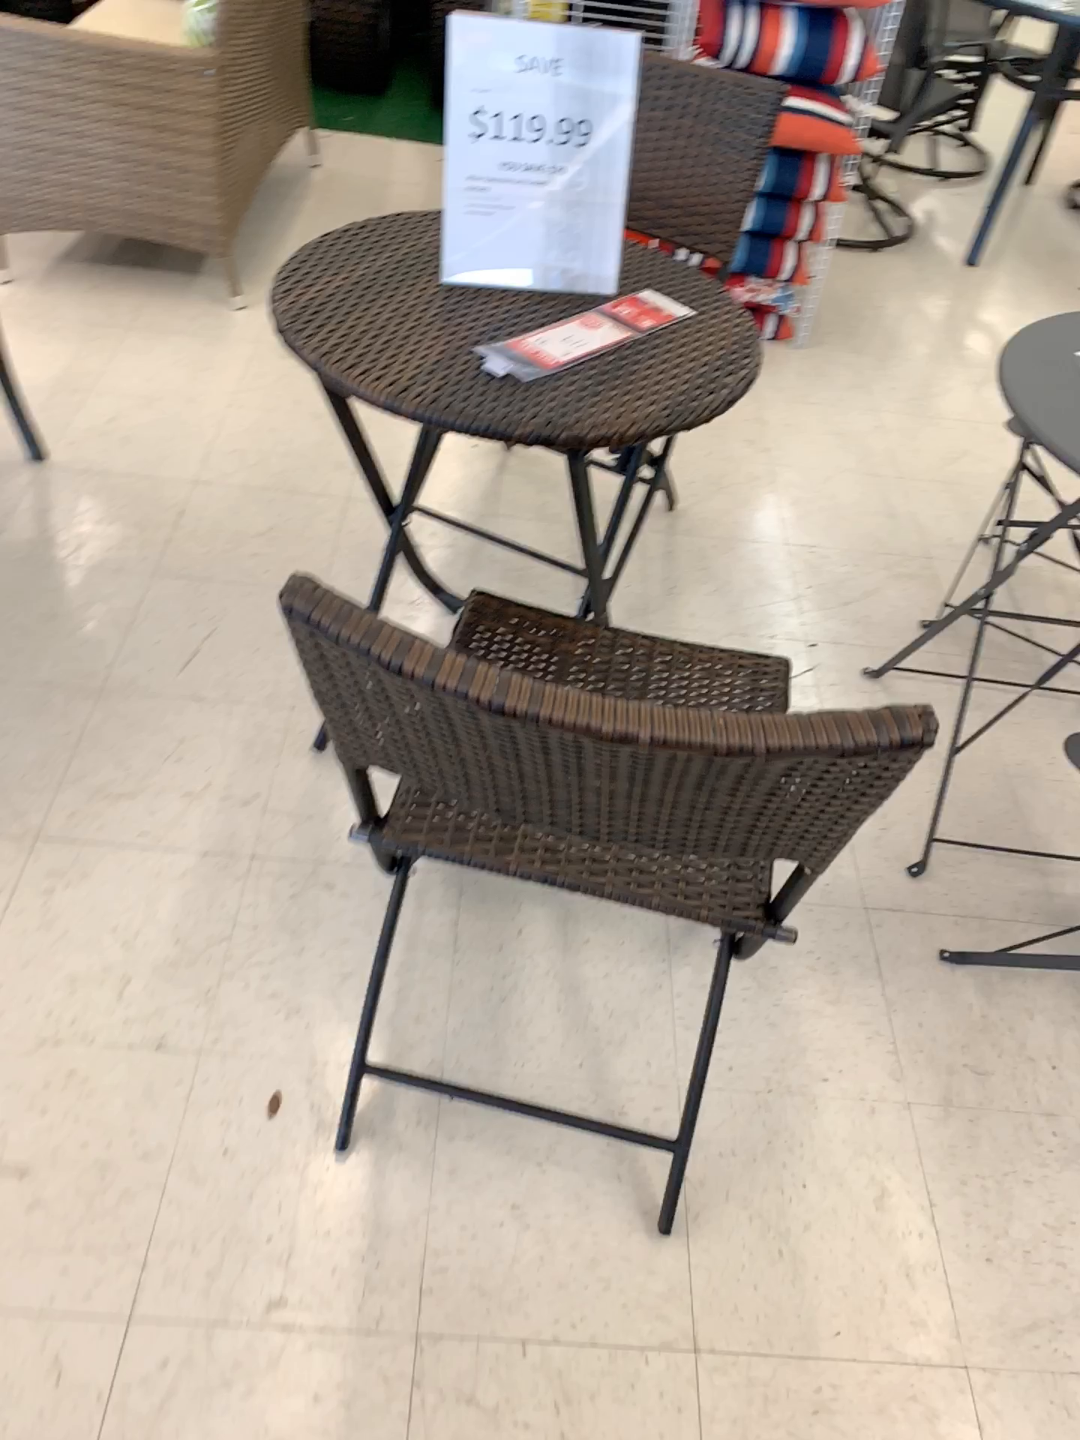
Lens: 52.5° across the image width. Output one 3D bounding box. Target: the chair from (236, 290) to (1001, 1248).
[{"bbox_3d":[0.055,0.082,1.123,0.480,0.766,0.513,13,45,4],"label":"chair"}]
